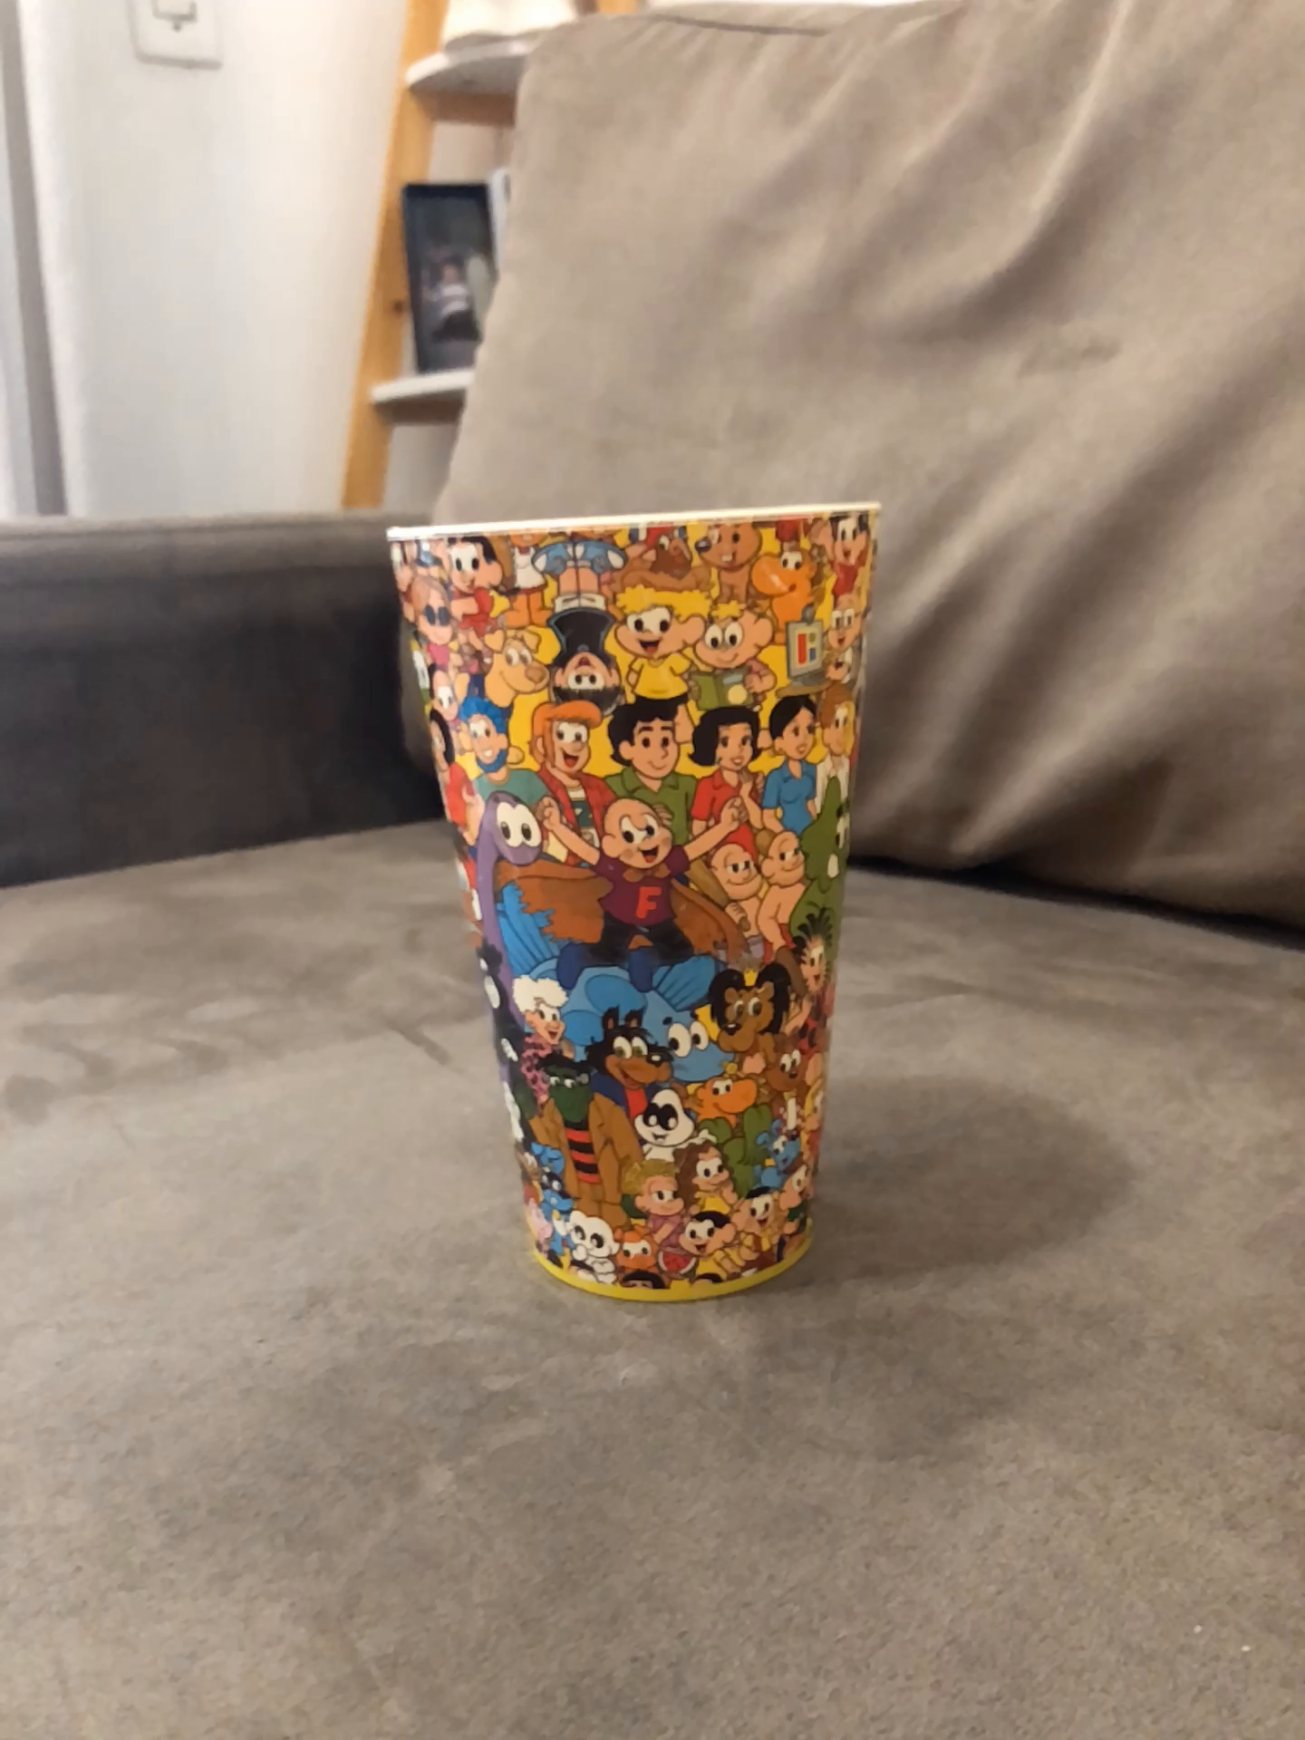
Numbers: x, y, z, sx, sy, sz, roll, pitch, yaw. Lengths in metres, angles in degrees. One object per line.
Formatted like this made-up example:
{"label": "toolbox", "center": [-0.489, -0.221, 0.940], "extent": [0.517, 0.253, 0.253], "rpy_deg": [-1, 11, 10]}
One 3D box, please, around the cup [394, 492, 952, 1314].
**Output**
{"label": "cup", "center": [0.004, -0.001, 0.295], "extent": [0.090, 0.140, 0.090], "rpy_deg": [-3, 11, 1]}
